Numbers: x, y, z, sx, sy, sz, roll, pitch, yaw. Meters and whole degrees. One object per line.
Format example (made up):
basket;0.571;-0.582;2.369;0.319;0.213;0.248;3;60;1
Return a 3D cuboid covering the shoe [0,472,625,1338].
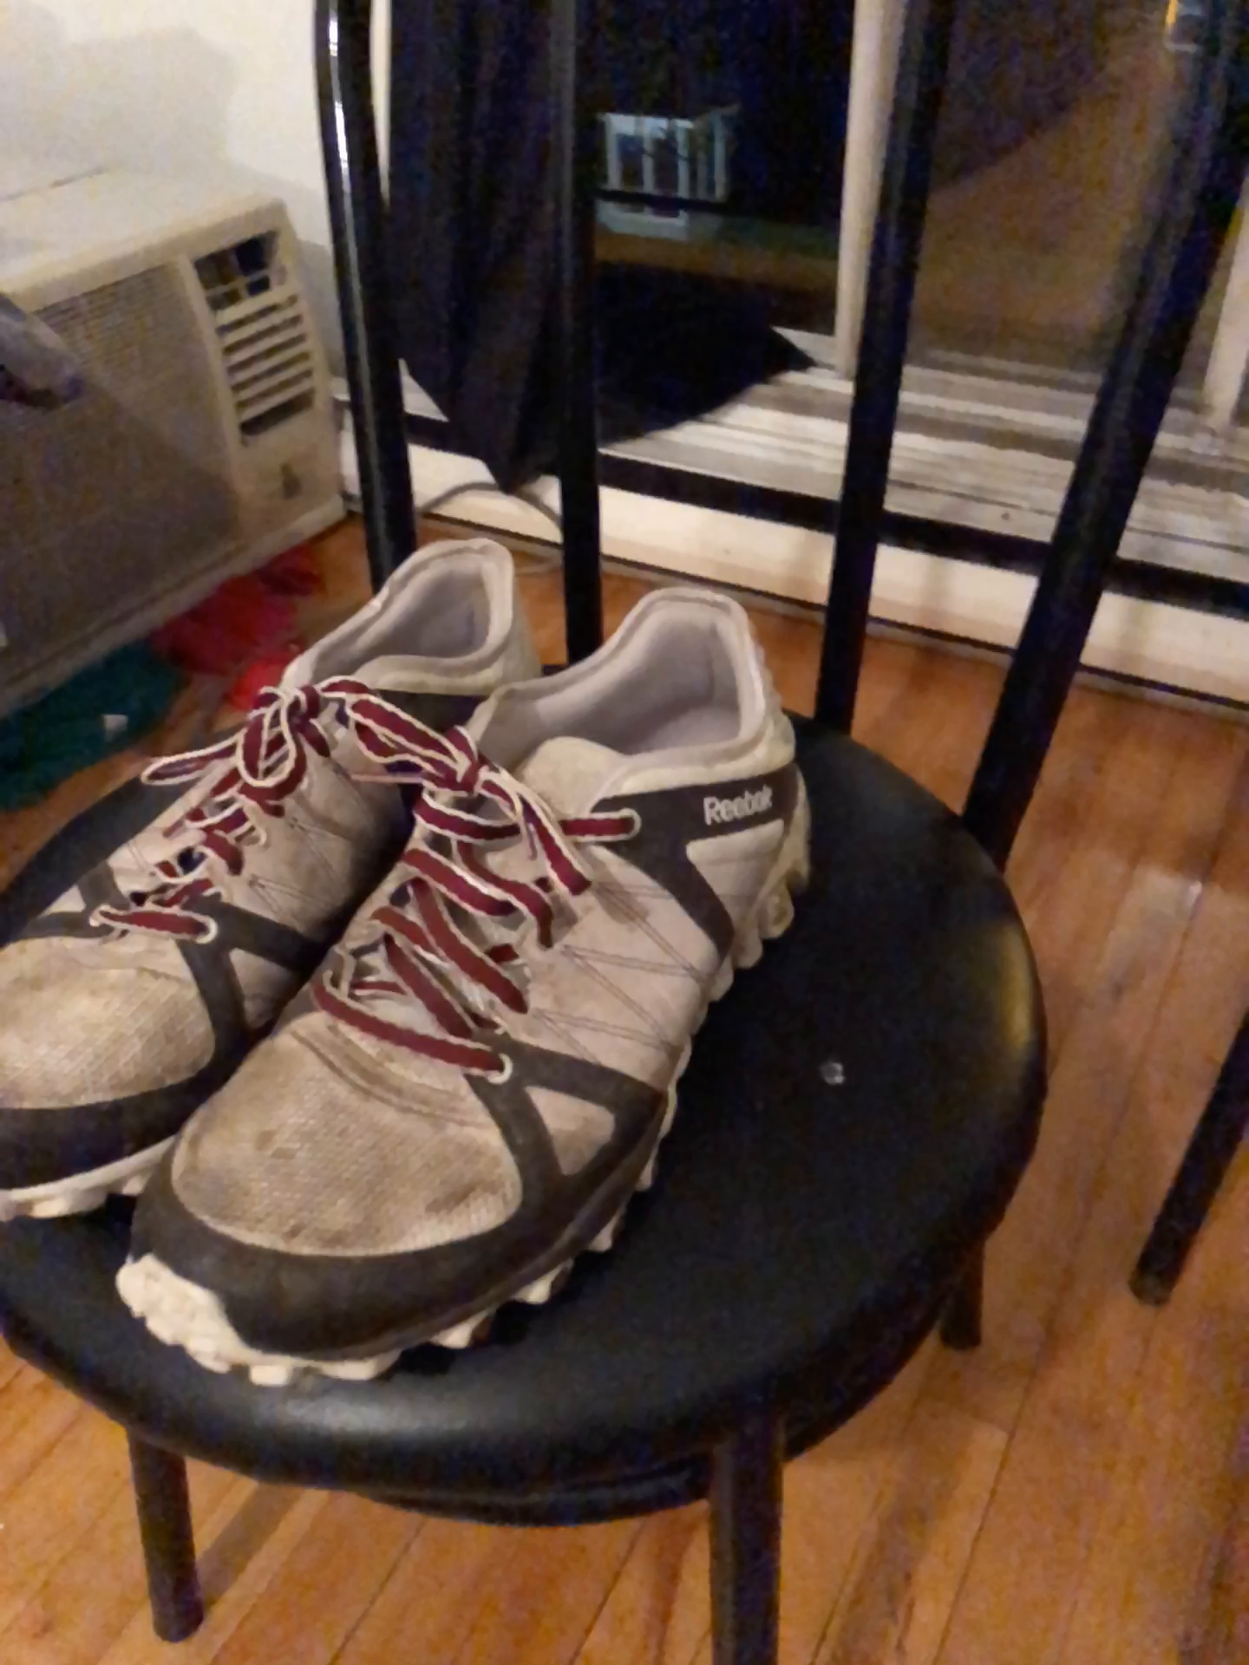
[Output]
shoe;-0.119;-0.005;0.461;0.100;0.099;0.312;17;43;23

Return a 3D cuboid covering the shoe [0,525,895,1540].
shoe;-0.031;0.026;0.427;0.120;0.099;0.312;17;43;23
